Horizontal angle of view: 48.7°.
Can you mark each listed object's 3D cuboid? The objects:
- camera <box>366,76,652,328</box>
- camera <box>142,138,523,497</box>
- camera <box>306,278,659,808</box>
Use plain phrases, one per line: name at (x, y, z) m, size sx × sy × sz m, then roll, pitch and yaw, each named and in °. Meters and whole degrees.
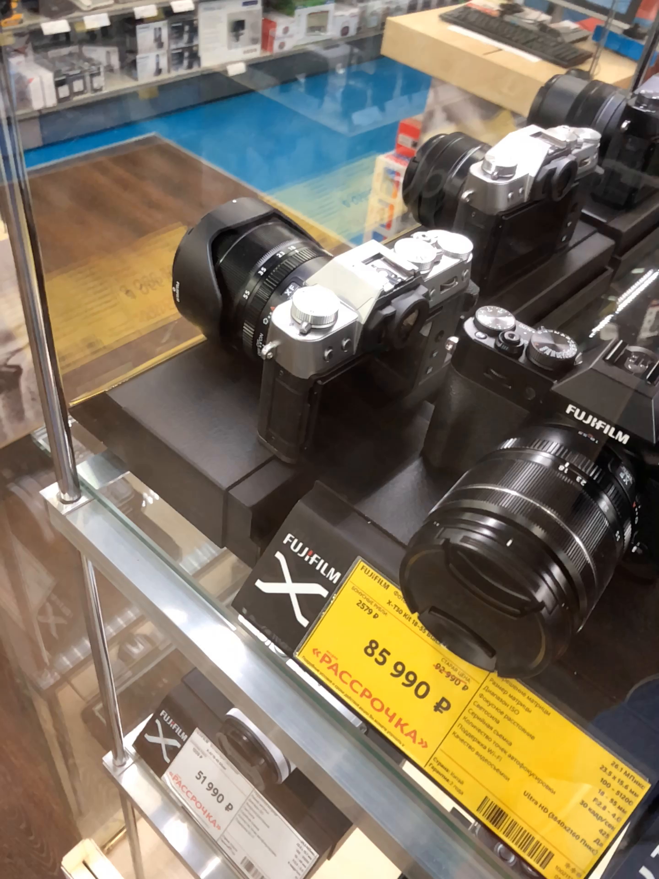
camera at (0.113, -0.158, 0.468) m, size 0.104 × 0.088 × 0.135 m, roll 37°, pitch 51°, yaw 24°
camera at (-0.001, -0.066, 0.353) m, size 0.121 × 0.088 × 0.121 m, roll 36°, pitch 51°, yaw 24°
camera at (0.089, 0.028, 0.285) m, size 0.144 × 0.088 × 0.123 m, roll 35°, pitch 50°, yaw 23°
